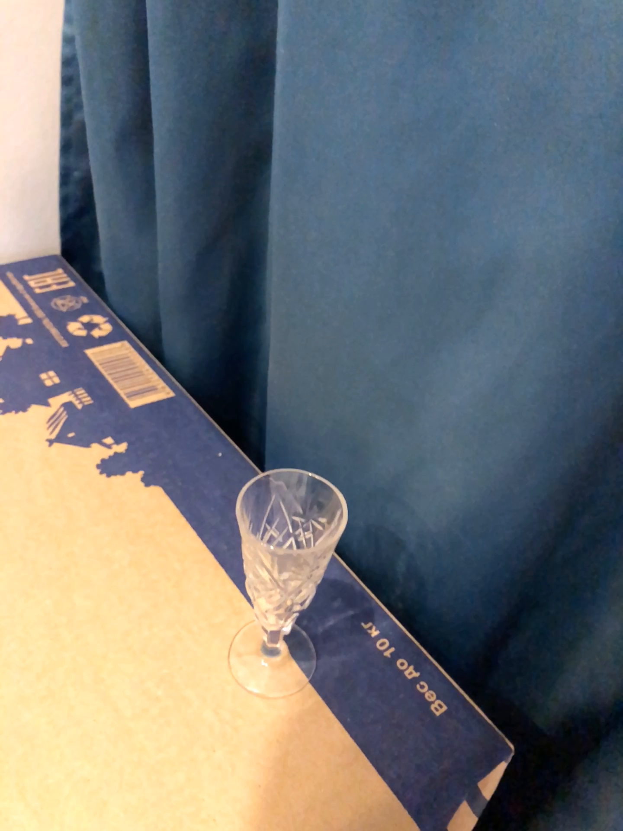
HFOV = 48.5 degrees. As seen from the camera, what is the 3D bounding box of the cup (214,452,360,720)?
[{"bbox_3d":[-0.015,0.081,0.318,0.051,0.118,0.054,3,39,-2],"label":"cup"}]
